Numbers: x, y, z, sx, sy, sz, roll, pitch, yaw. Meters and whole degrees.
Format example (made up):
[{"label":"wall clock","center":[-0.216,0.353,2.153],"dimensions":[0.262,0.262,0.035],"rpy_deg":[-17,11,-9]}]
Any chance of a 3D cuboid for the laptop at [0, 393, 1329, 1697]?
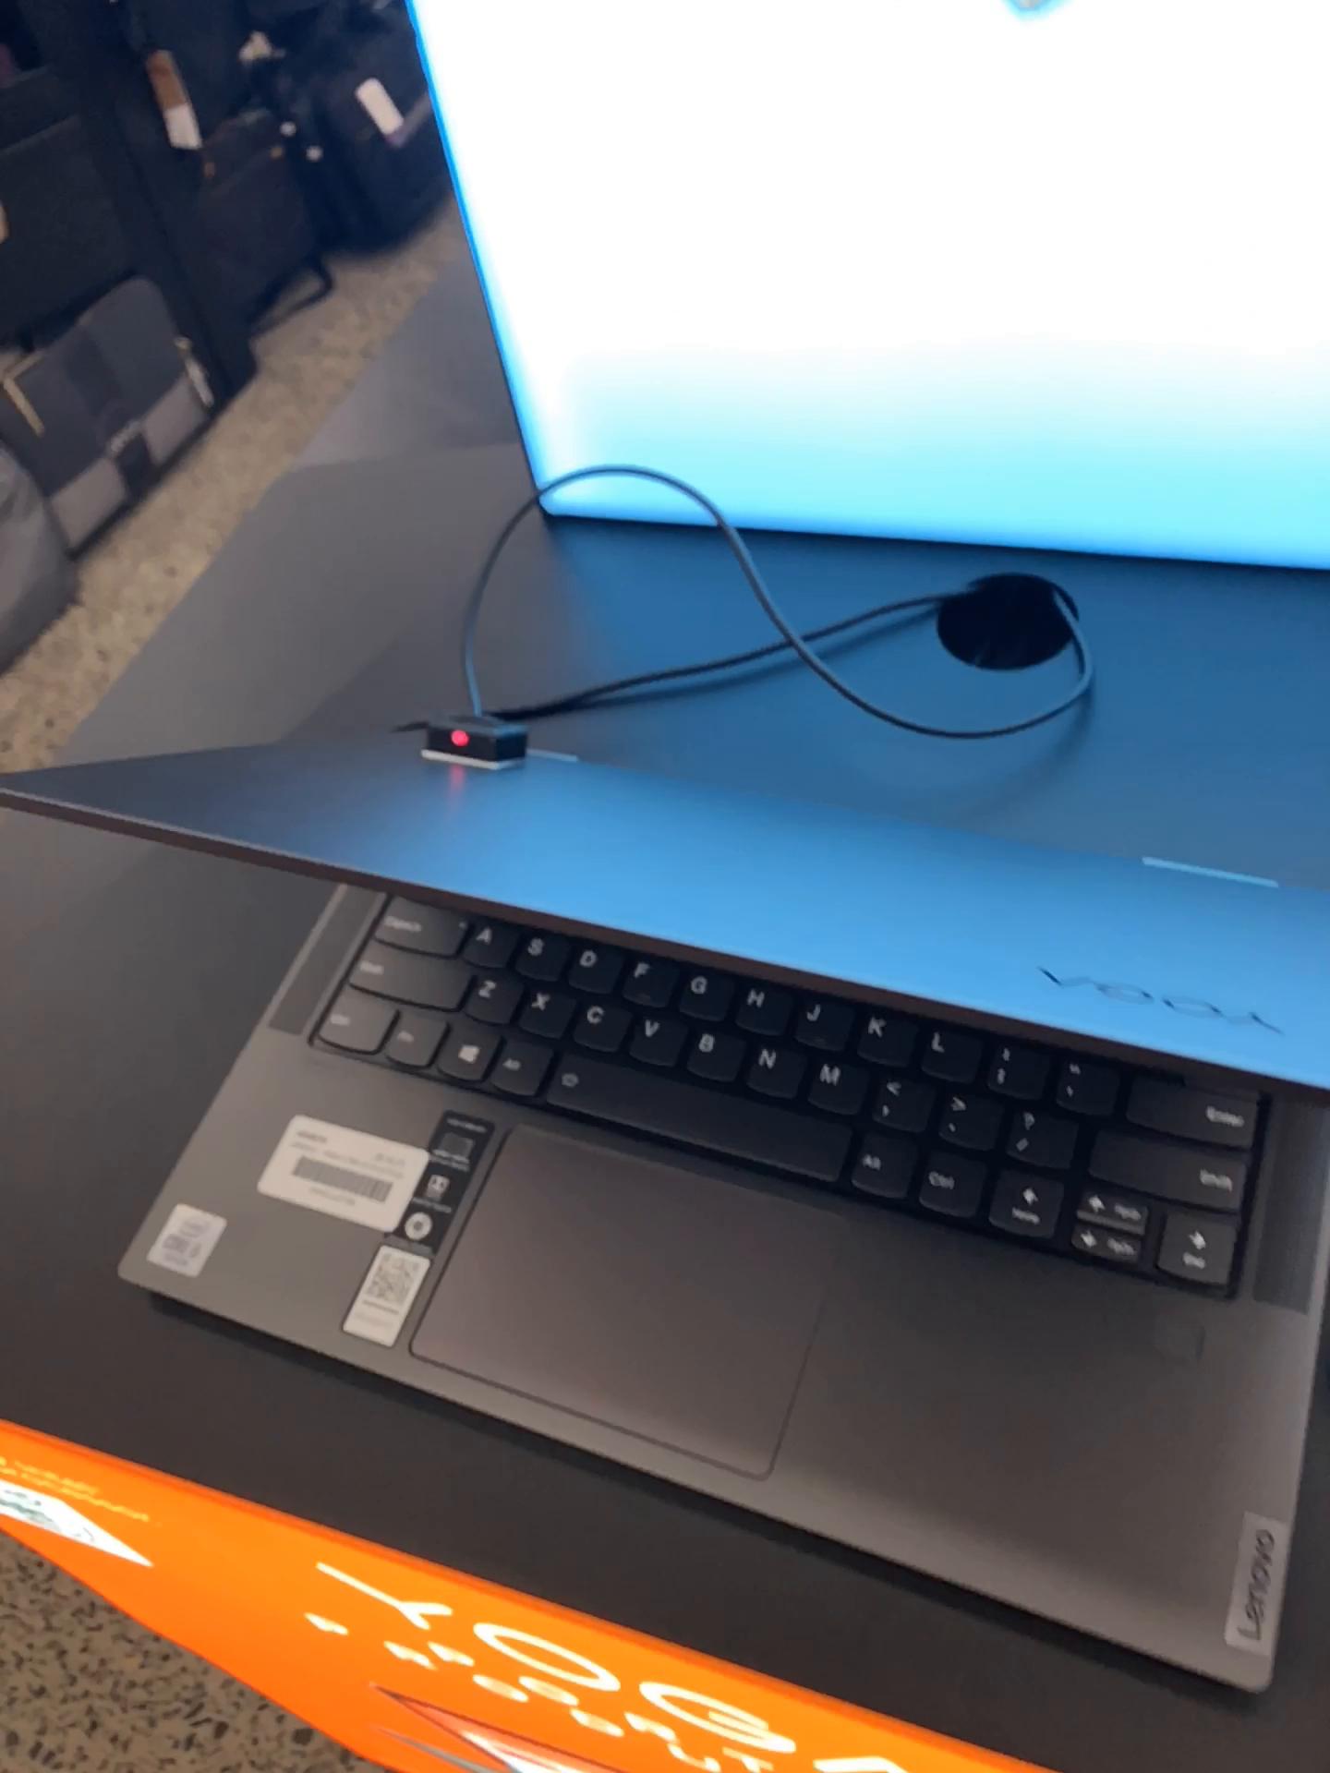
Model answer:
[{"label":"laptop","center":[0.007,0.013,0.376],"dimensions":[0.320,0.144,0.210],"rpy_deg":[12,56,22]}]
